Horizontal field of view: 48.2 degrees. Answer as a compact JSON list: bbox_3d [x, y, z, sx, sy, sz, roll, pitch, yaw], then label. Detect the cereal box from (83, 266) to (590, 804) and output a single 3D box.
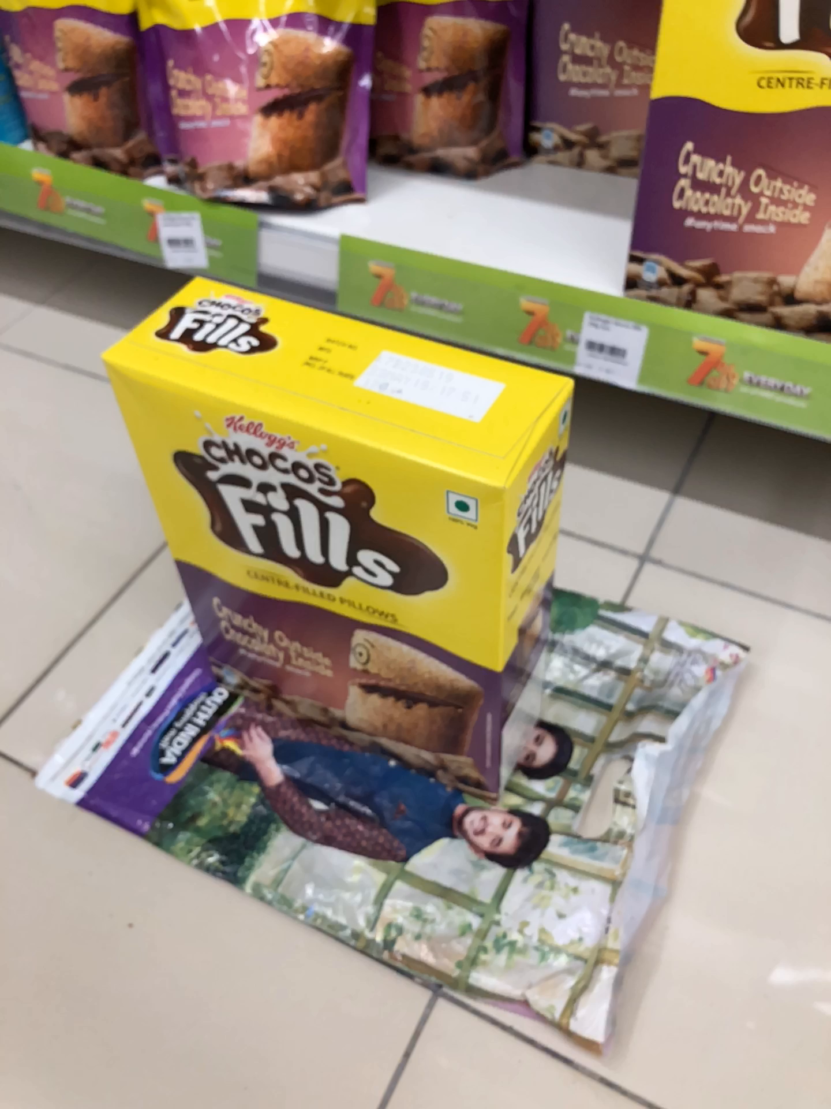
[{"bbox_3d":[-0.028,0.000,0.449,0.190,0.229,0.070,18,52,20],"label":"cereal box"}]
